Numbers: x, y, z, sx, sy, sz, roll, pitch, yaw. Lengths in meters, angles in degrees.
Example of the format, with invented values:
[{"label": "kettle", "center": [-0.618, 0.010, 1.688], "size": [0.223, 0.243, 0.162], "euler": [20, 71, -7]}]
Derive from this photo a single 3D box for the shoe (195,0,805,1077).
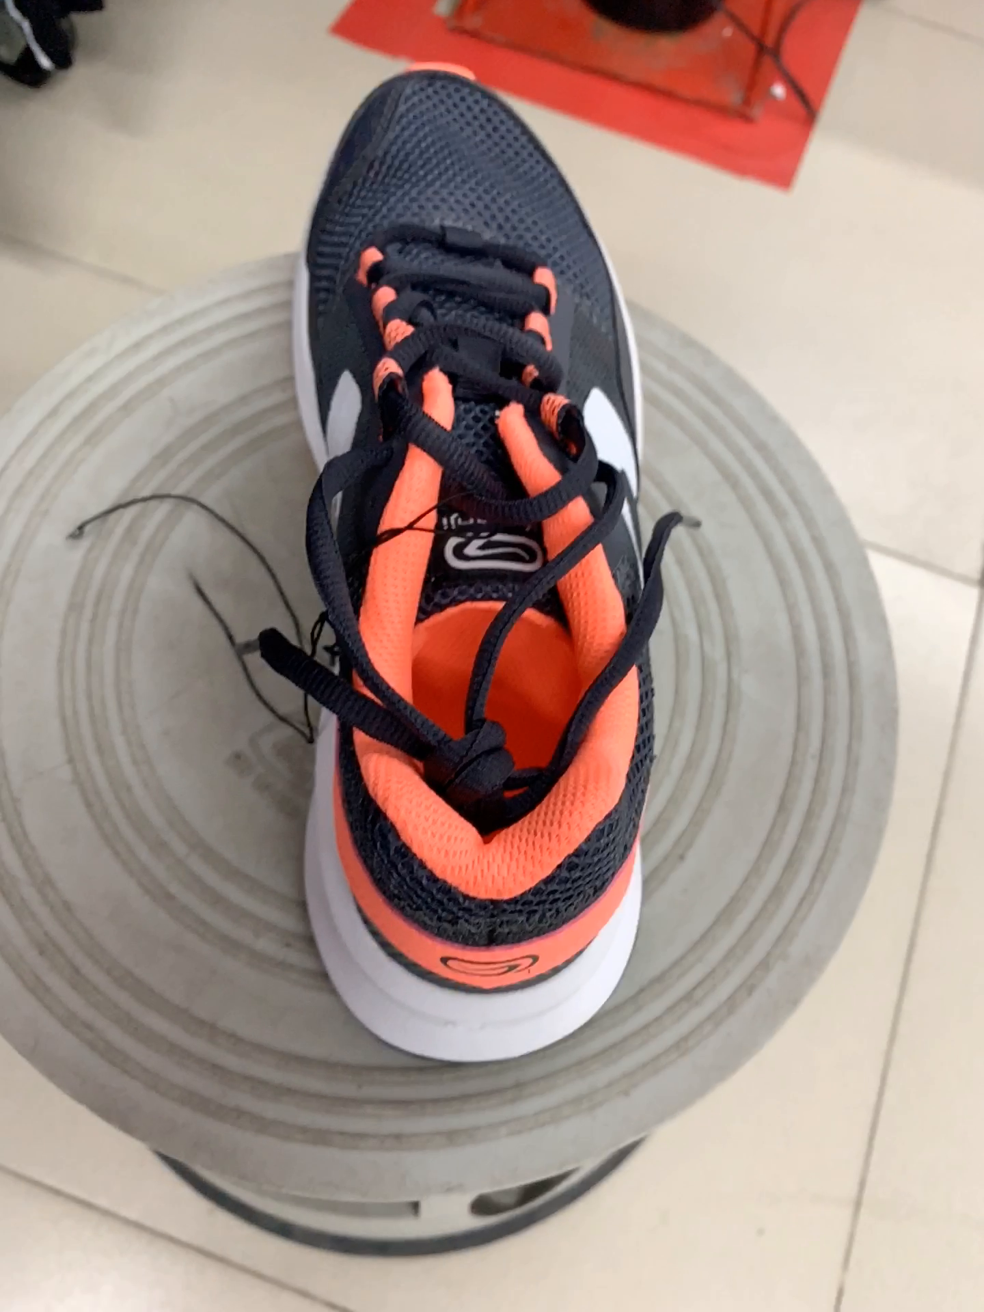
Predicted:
[{"label": "shoe", "center": [-0.007, -0.047, 0.275], "size": [0.100, 0.120, 0.290], "euler": [0, 69, -5]}]
